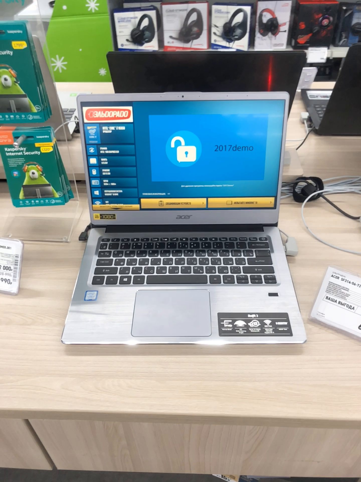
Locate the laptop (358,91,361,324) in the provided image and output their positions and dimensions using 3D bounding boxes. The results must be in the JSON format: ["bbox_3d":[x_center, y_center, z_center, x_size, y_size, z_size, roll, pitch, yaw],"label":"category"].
[{"bbox_3d":[0.489,-0.066,0.590,0.305,0.164,0.323,0,45,2],"label":"laptop"}]

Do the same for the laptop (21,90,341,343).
[{"bbox_3d":[0.003,-0.047,0.564,0.314,0.197,0.304,-1,44,1],"label":"laptop"}]
